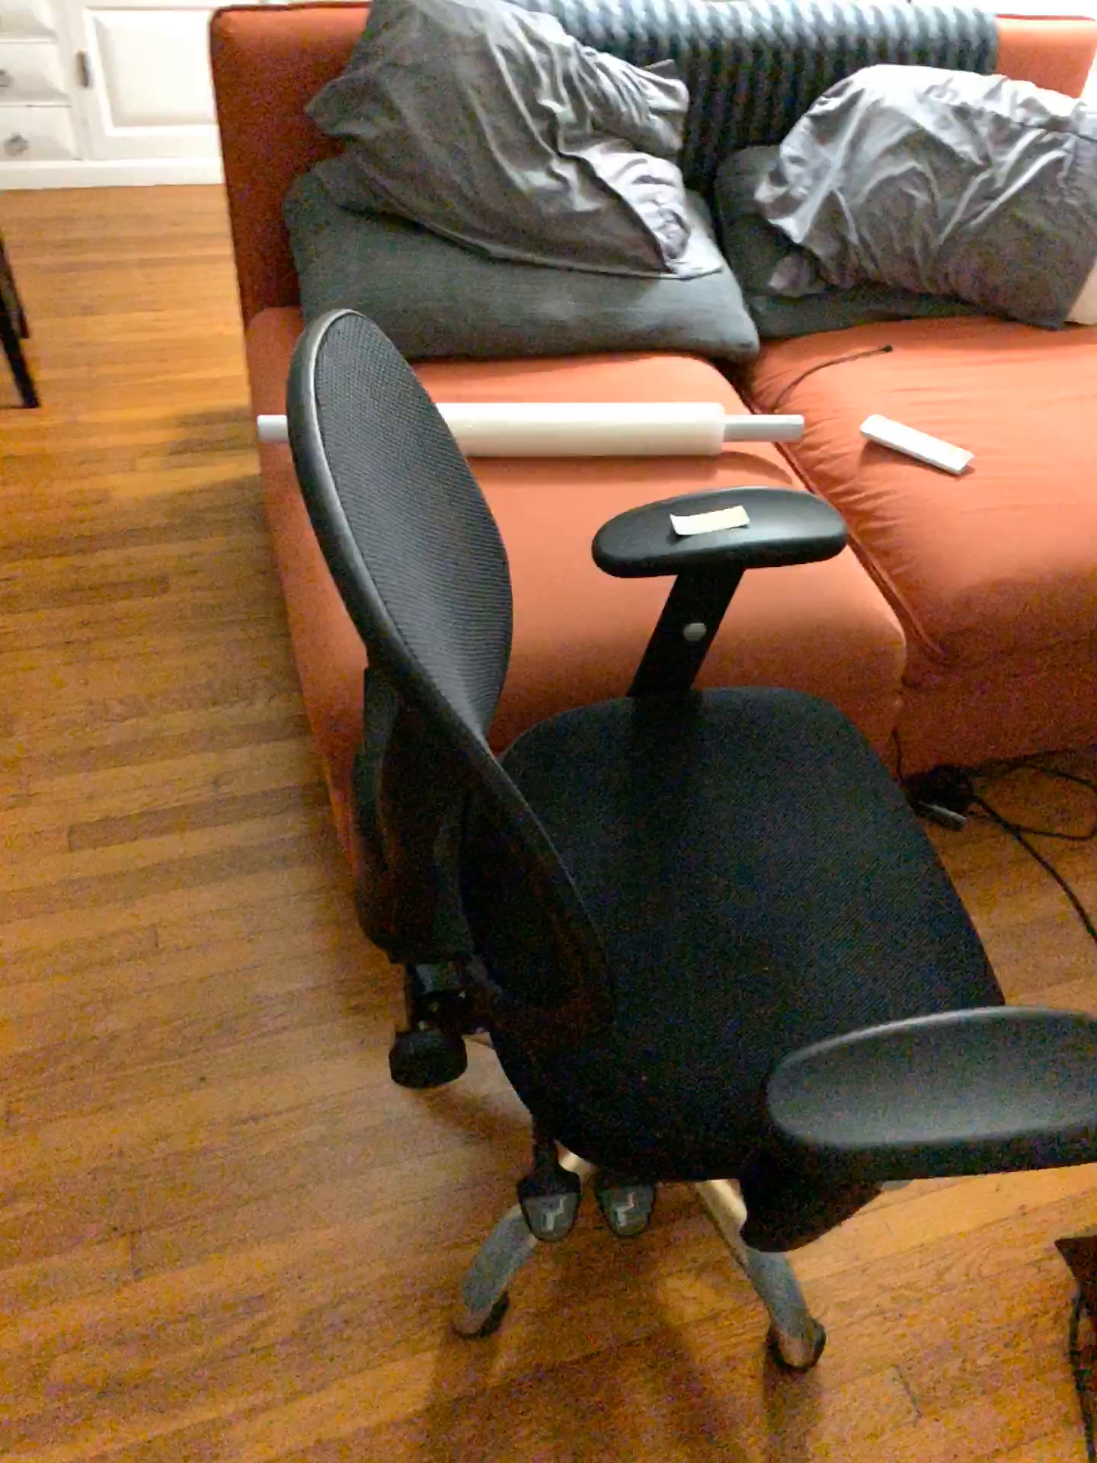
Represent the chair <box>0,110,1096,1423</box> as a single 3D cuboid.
[{"bbox_3d":[0.074,0.094,1.005,0.660,0.975,0.643,-4,46,-3],"label":"chair"}]
